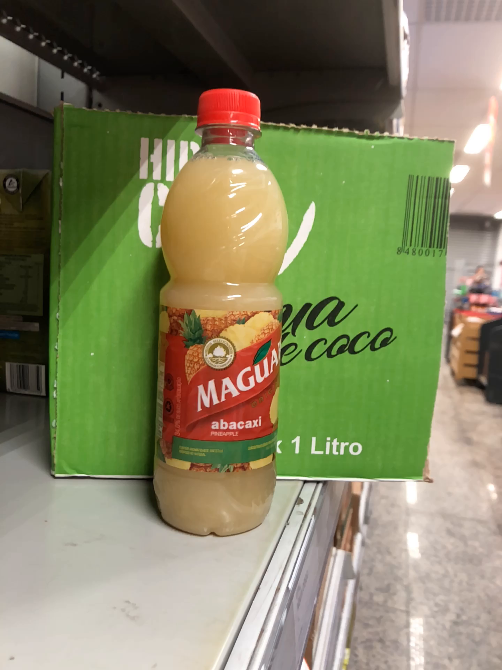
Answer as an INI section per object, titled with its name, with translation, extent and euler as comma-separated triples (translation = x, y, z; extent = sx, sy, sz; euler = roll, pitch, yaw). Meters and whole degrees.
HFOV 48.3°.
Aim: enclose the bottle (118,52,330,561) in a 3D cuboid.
[bottle]
translation = -0.017, -0.011, 0.273
extent = 0.070, 0.209, 0.060
euler = -1, 9, -34
